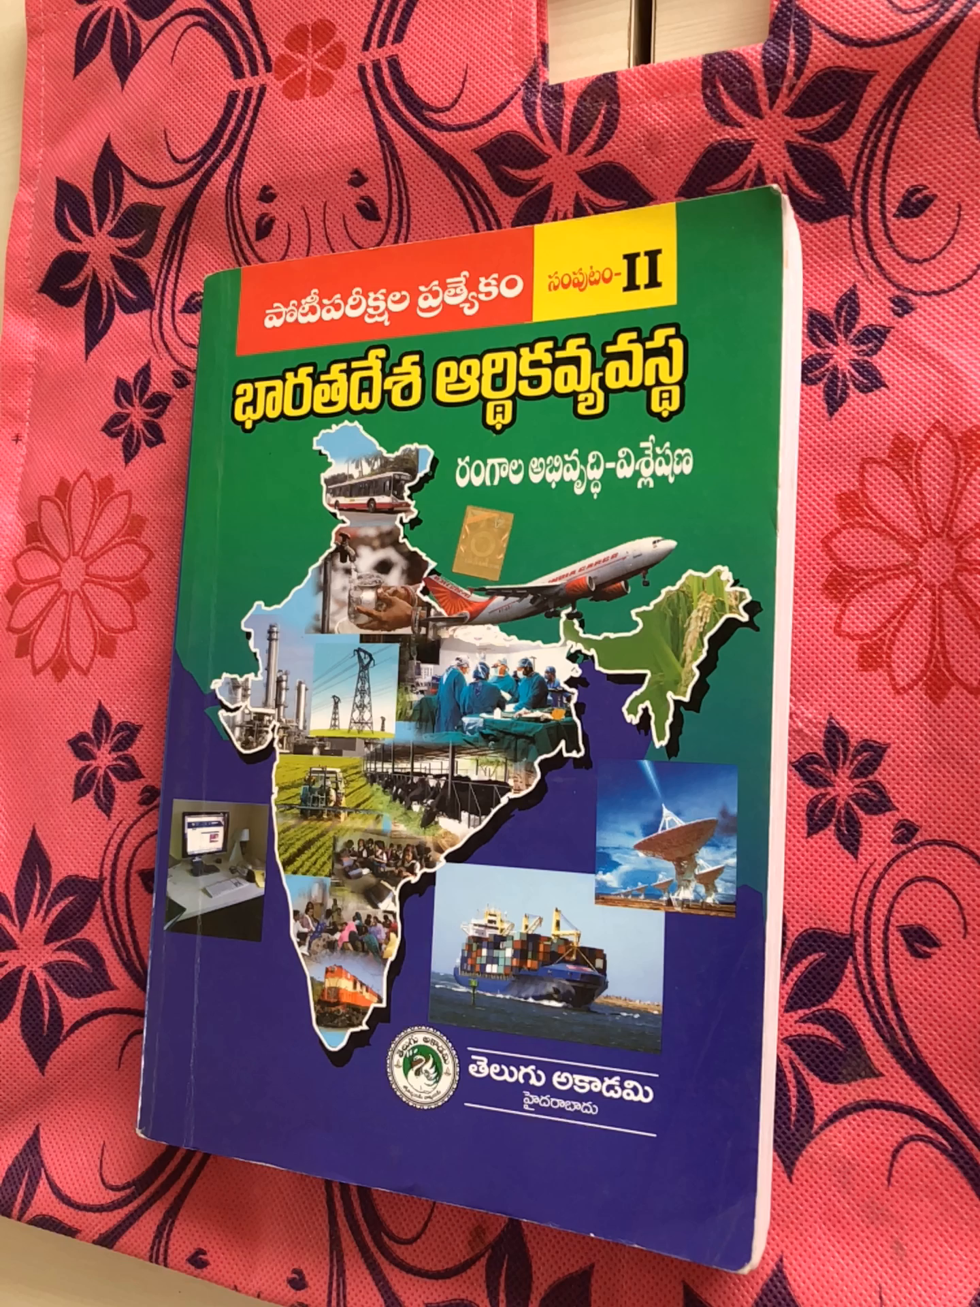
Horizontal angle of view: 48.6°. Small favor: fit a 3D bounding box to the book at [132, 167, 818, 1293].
[{"bbox_3d":[-0.006,0.013,0.324,0.190,0.040,0.280,1,85,21],"label":"book"}]
